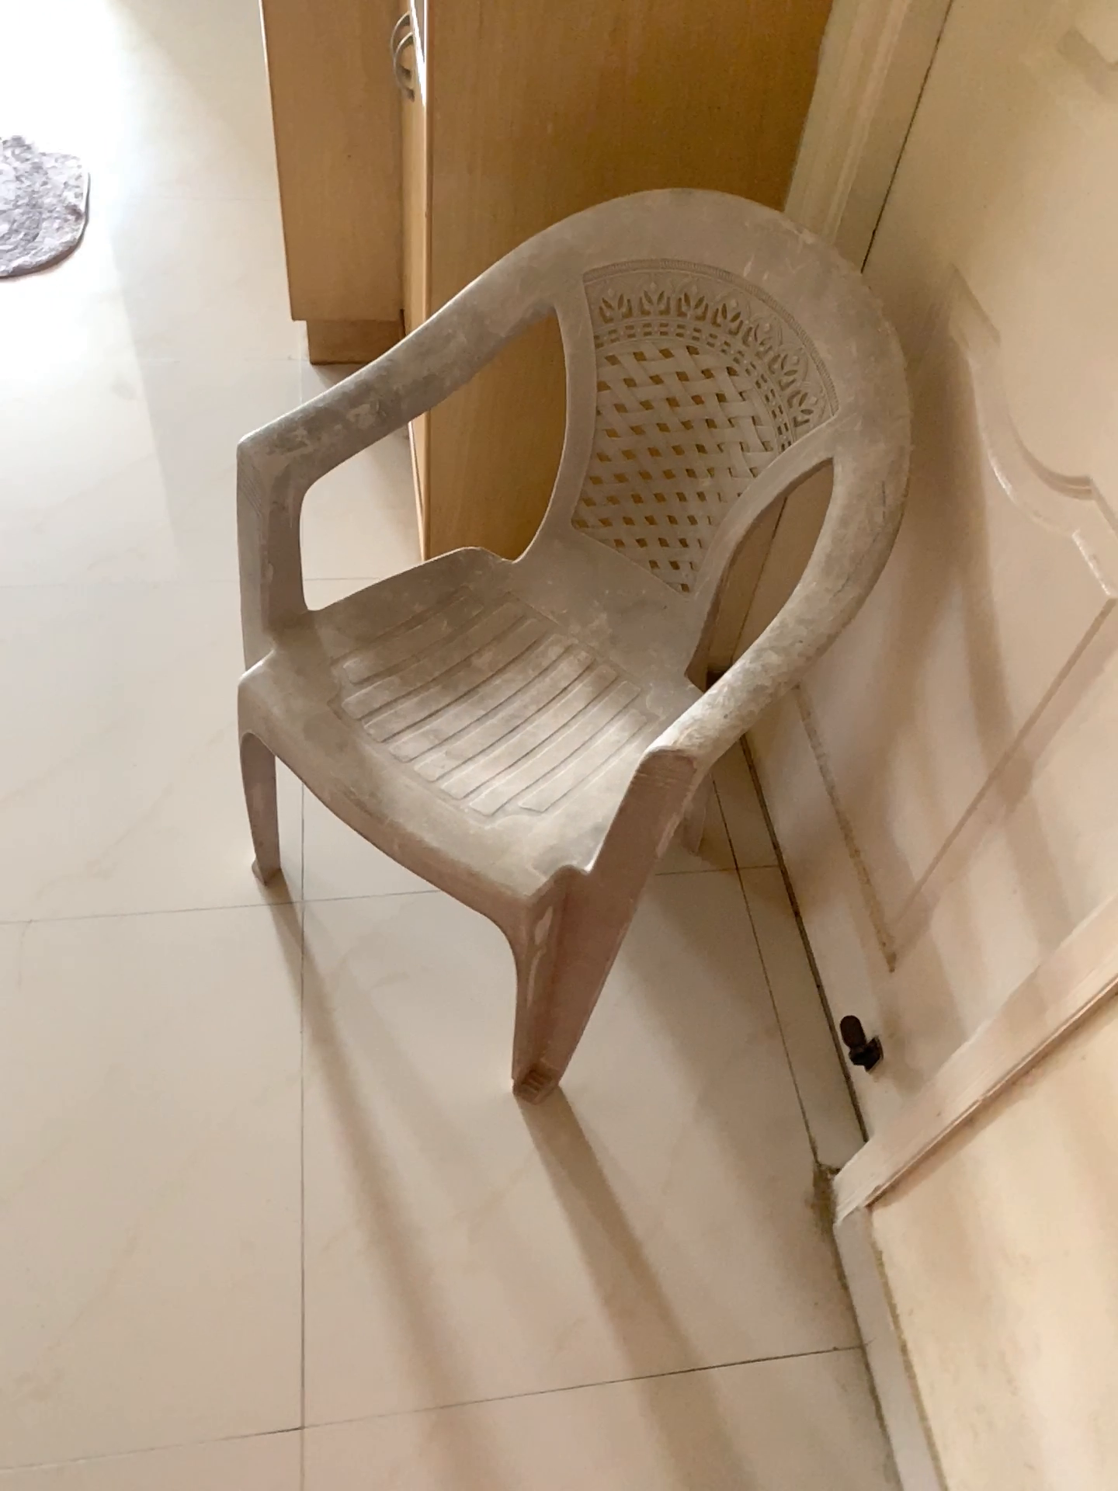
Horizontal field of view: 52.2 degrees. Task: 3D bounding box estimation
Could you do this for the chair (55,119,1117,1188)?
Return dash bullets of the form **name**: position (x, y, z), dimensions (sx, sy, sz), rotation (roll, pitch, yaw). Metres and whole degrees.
- **chair**: position (0.018, -0.099, 1.242), dimensions (0.612, 0.725, 0.673), rotation (38, 57, 20)
